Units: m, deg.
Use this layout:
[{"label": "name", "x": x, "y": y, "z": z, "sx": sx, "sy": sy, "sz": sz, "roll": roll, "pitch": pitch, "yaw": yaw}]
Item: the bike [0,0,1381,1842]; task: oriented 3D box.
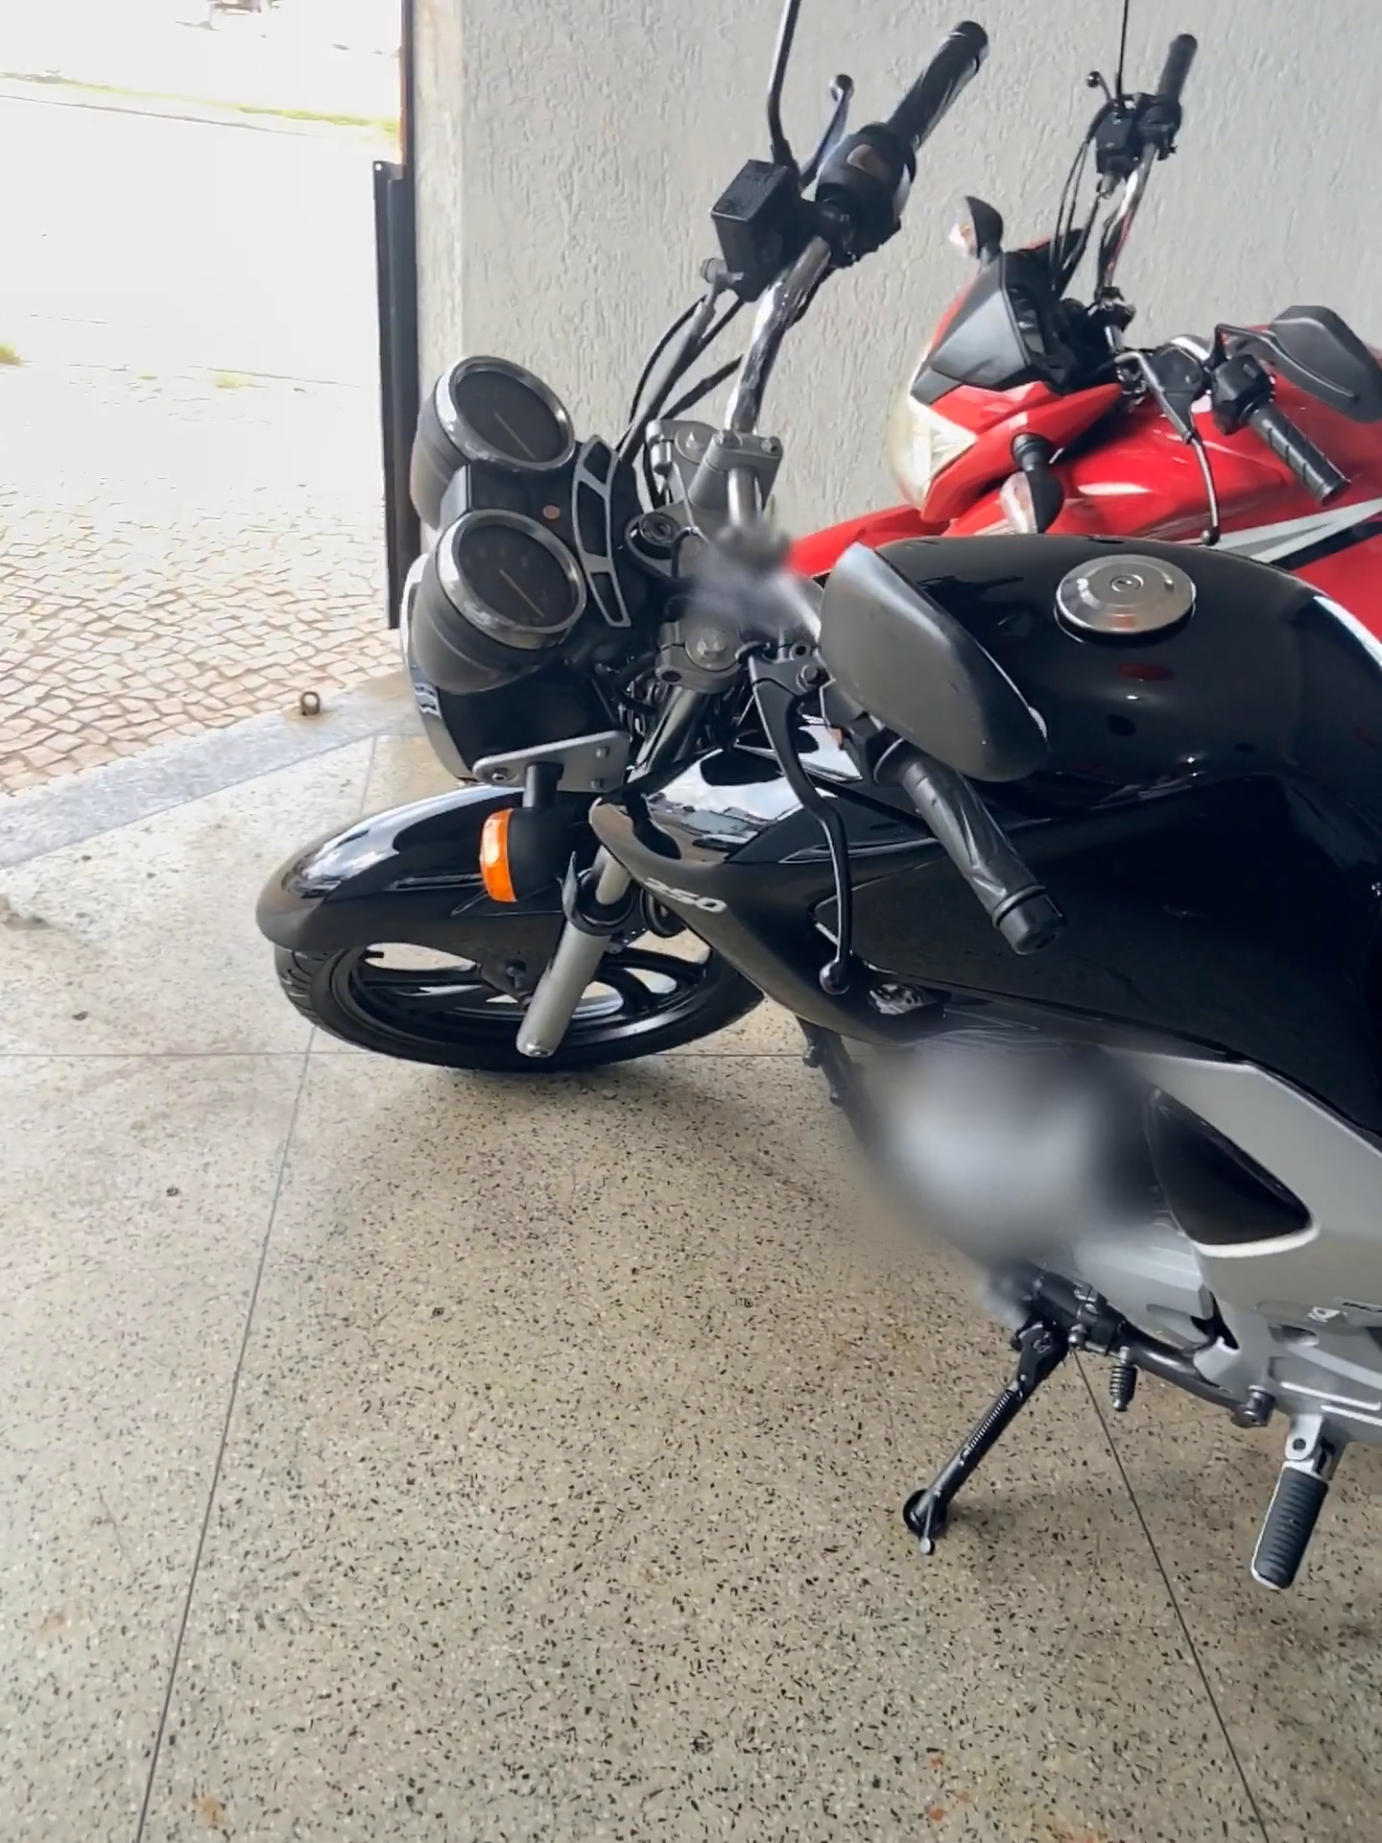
[{"label": "bike", "x": 0.488, "y": 0.133, "z": 1.152, "sx": 1.878, "sy": 1.510, "sz": 0.848, "roll": 17, "pitch": 35, "yaw": 12}]
